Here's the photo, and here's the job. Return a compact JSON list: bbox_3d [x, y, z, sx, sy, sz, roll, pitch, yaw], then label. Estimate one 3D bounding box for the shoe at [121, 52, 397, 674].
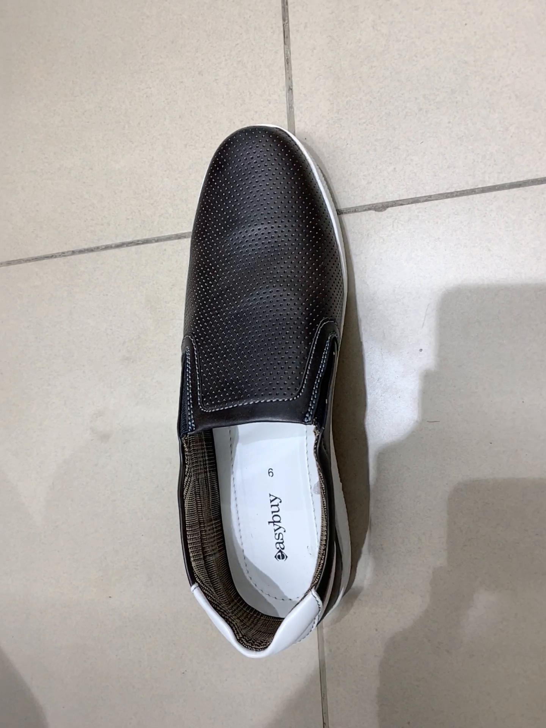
[{"bbox_3d":[-0.004,0.002,0.331,0.110,0.090,0.300,-6,87,21],"label":"shoe"}]
